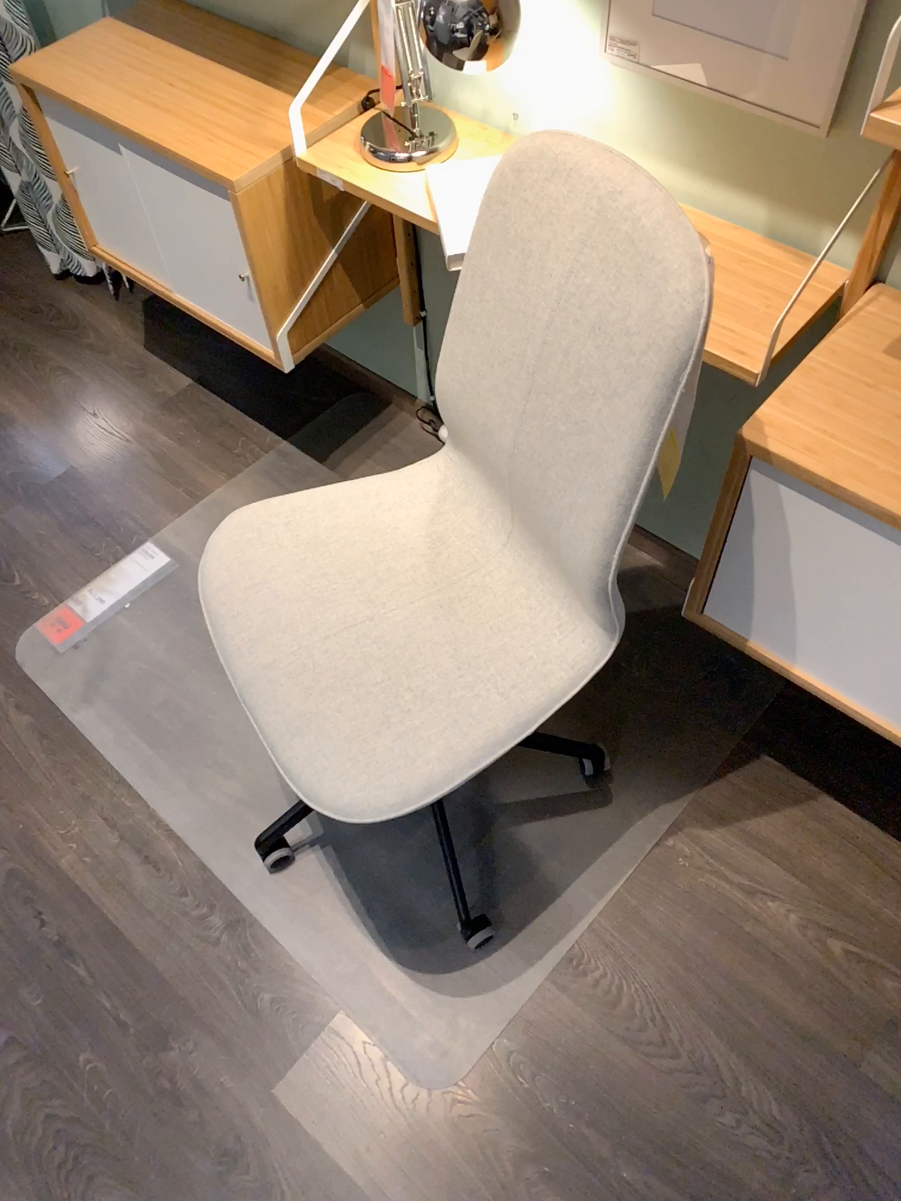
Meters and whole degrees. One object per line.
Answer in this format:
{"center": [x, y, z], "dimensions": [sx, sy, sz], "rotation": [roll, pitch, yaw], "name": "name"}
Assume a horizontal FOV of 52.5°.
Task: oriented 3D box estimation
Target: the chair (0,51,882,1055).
{"center": [-0.083, 0.028, 1.150], "dimensions": [0.620, 0.967, 0.621], "rotation": [-25, 57, -14], "name": "chair"}
